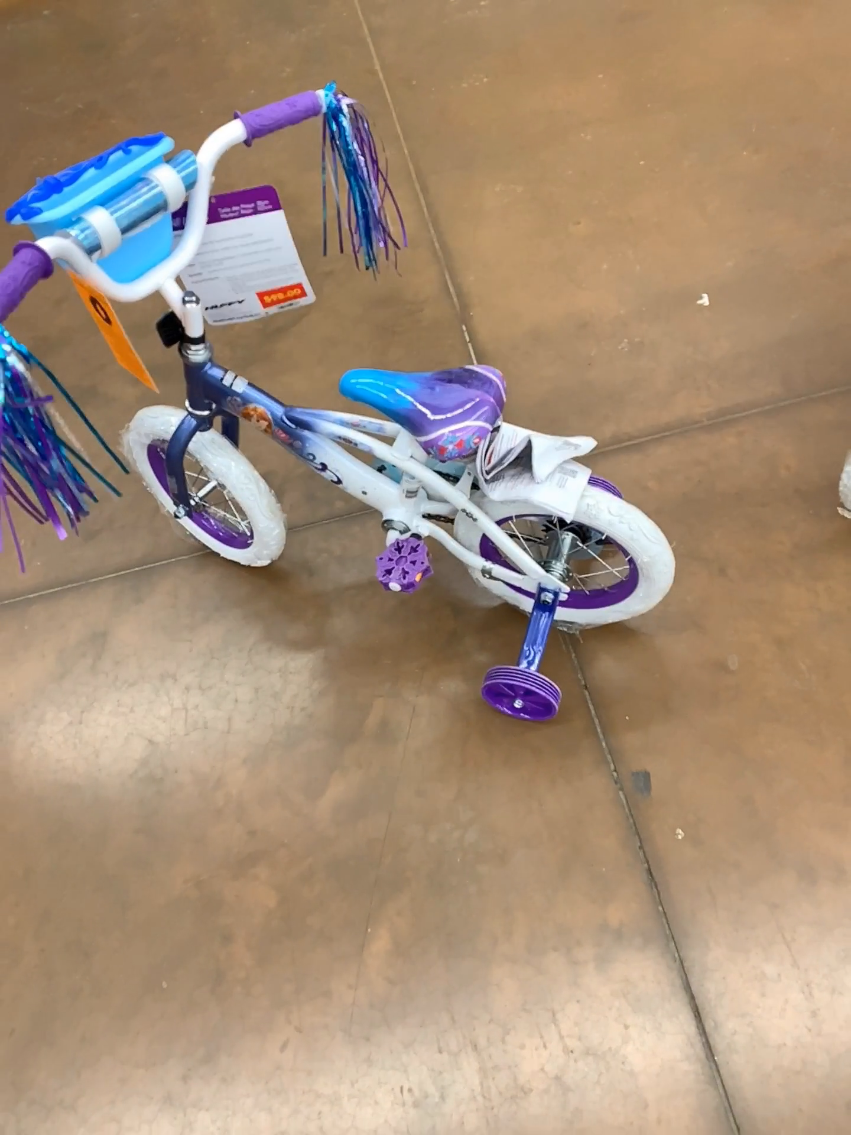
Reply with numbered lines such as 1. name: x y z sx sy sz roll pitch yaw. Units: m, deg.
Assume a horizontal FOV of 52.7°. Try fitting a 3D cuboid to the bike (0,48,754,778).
1. bike: -0.047 -0.137 1.011 0.651 0.643 0.473 8 59 16
